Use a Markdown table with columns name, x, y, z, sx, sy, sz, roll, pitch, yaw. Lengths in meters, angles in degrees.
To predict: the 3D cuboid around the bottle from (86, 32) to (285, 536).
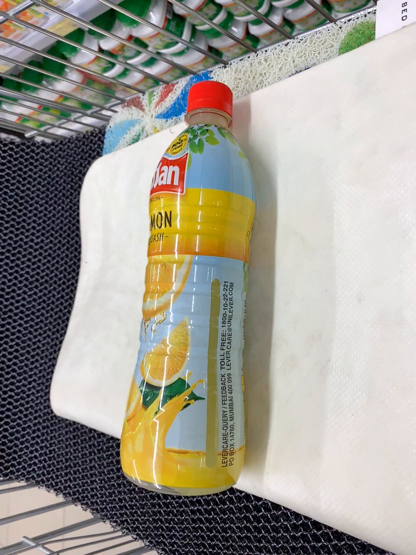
| name | x | y | z | sx | sy | sz | roll | pitch | yaw |
| --- | --- | --- | --- | --- | --- | --- | --- | --- | --- |
| bottle | -0.011 | 0.002 | 0.249 | 0.080 | 0.070 | 0.230 | -1 | 85 | 38 |
